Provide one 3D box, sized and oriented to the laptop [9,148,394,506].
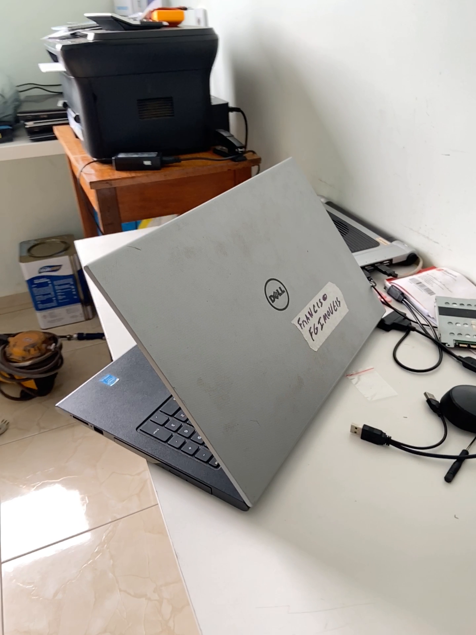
[{"bbox_3d":[-0.009,-0.039,0.589,0.257,0.204,0.376,17,38,27],"label":"laptop"}]
